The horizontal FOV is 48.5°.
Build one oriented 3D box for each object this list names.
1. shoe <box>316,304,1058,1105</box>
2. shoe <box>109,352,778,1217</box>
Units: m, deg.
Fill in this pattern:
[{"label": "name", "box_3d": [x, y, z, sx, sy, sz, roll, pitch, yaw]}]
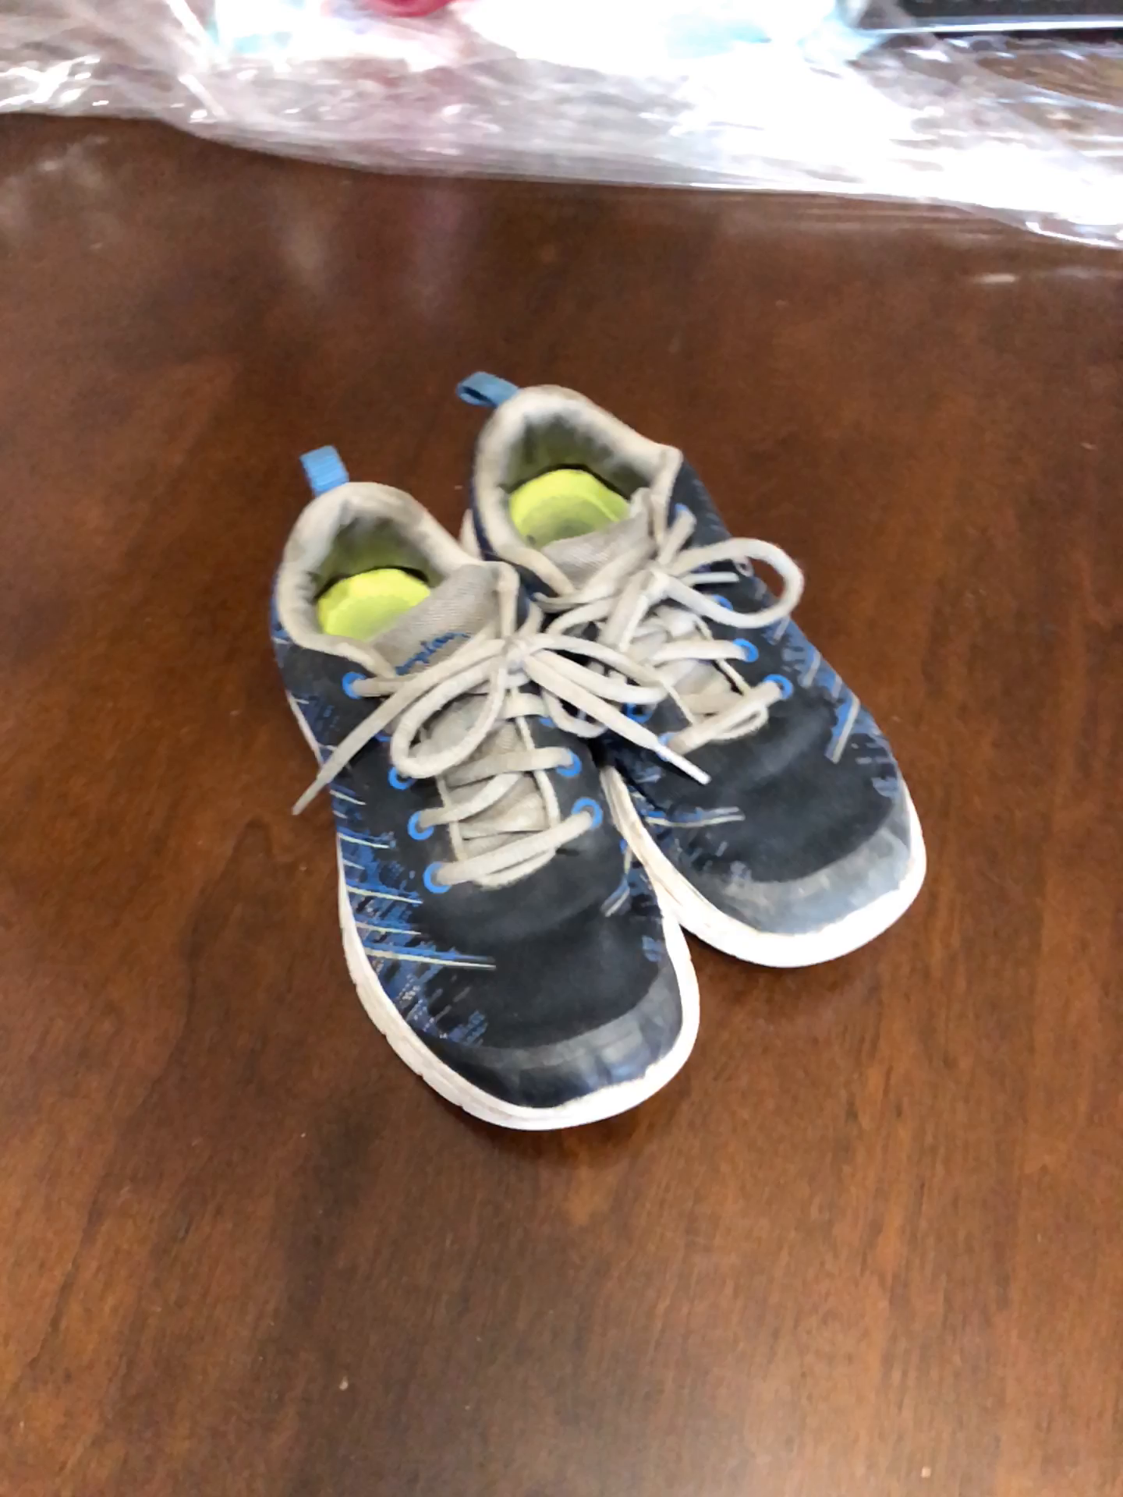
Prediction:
[{"label": "shoe", "box_3d": [0.025, -0.024, 0.396, 0.100, 0.090, 0.230, -28, 60, -15]}, {"label": "shoe", "box_3d": [-0.042, 0.000, 0.365, 0.100, 0.090, 0.220, -23, 58, -12]}]
